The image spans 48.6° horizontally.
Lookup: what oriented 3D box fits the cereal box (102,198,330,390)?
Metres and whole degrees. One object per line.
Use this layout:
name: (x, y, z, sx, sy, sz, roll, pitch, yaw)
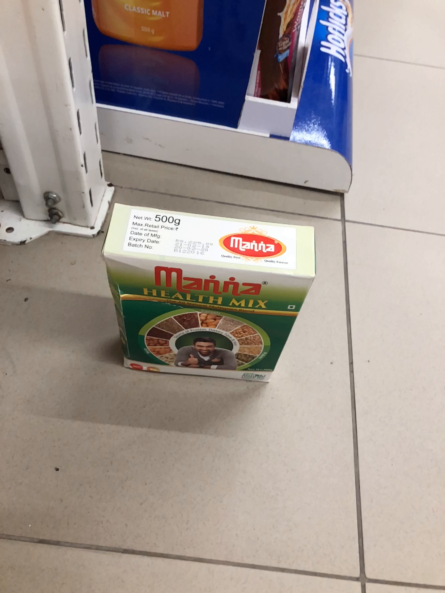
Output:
cereal box: (-0.012, 0.011, 0.414, 0.150, 0.189, 0.050, 6, 56, -4)
